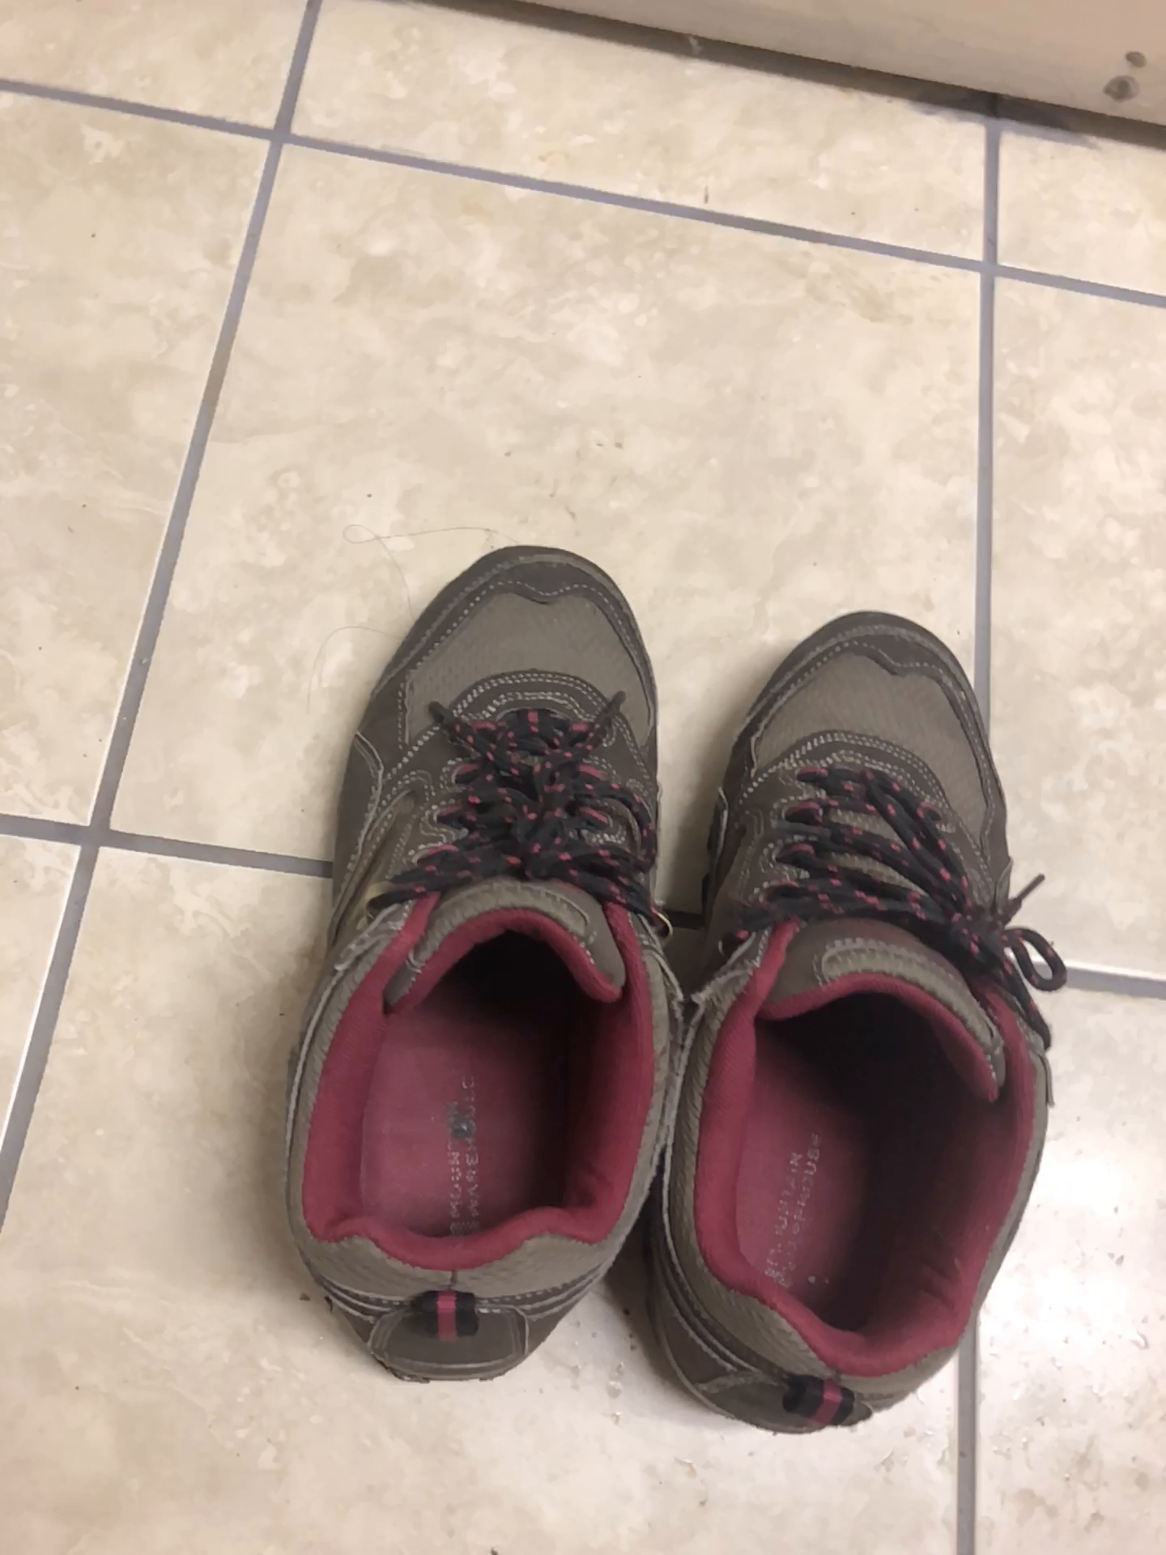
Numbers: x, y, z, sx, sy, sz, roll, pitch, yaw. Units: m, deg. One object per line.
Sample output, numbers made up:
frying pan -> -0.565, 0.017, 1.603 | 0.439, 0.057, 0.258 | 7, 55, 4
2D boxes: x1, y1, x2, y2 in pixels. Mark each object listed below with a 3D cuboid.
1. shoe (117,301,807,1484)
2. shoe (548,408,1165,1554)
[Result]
shoe -> -0.022, 0.027, 0.358 | 0.120, 0.120, 0.270 | 9, 70, -3
shoe -> 0.076, 0.051, 0.362 | 0.110, 0.120, 0.260 | 13, 70, -2
